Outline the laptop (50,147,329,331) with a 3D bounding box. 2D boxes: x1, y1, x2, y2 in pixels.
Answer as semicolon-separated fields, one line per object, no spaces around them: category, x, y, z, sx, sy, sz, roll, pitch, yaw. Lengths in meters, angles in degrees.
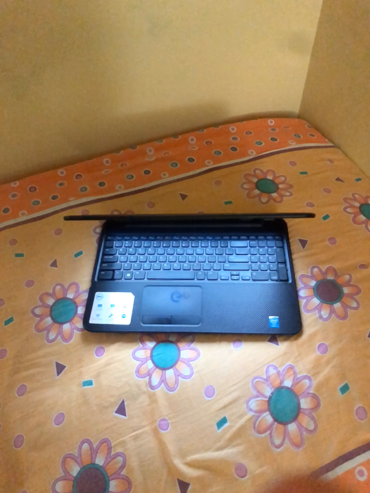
laptop;0.009;-0.009;0.680;0.366;0.190;0.238;0;54;4
